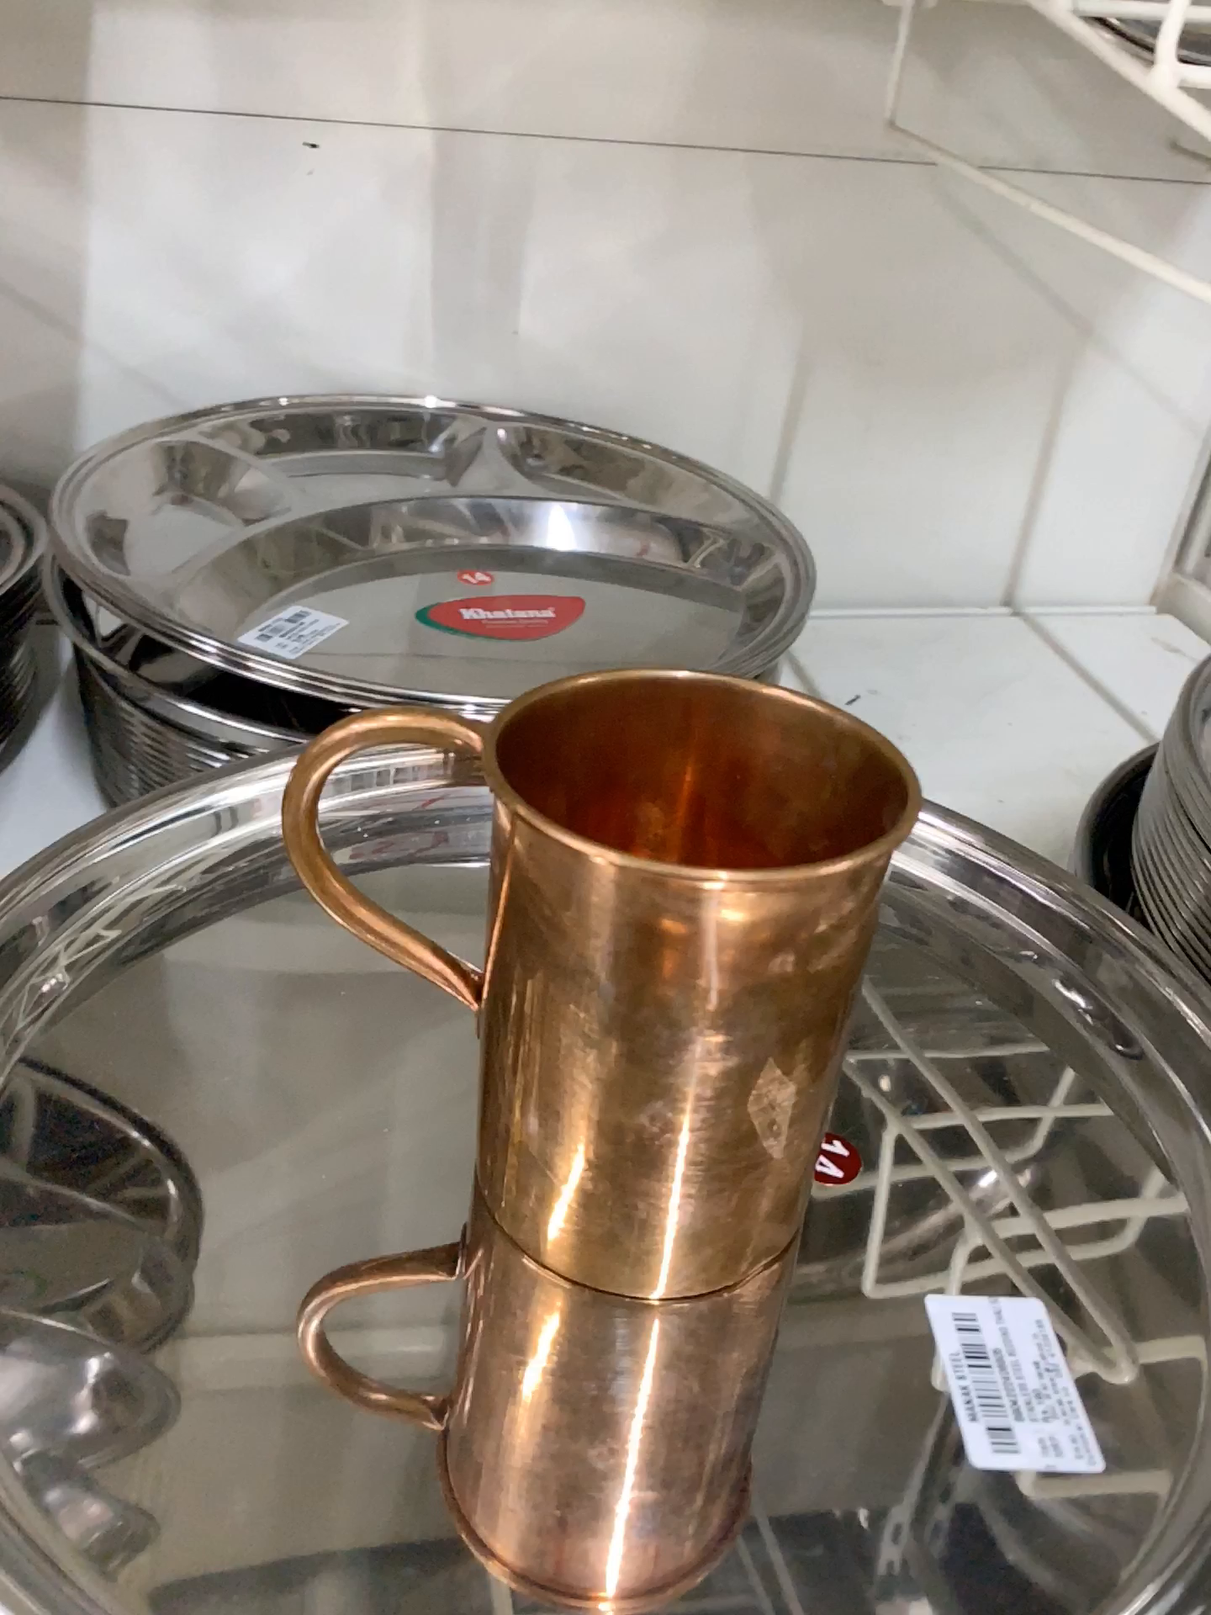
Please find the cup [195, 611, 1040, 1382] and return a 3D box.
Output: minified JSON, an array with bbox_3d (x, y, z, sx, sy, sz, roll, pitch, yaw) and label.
[{"bbox_3d":[0.000,0.038,0.257,0.130,0.119,0.080,6,33,2],"label":"cup"}]
